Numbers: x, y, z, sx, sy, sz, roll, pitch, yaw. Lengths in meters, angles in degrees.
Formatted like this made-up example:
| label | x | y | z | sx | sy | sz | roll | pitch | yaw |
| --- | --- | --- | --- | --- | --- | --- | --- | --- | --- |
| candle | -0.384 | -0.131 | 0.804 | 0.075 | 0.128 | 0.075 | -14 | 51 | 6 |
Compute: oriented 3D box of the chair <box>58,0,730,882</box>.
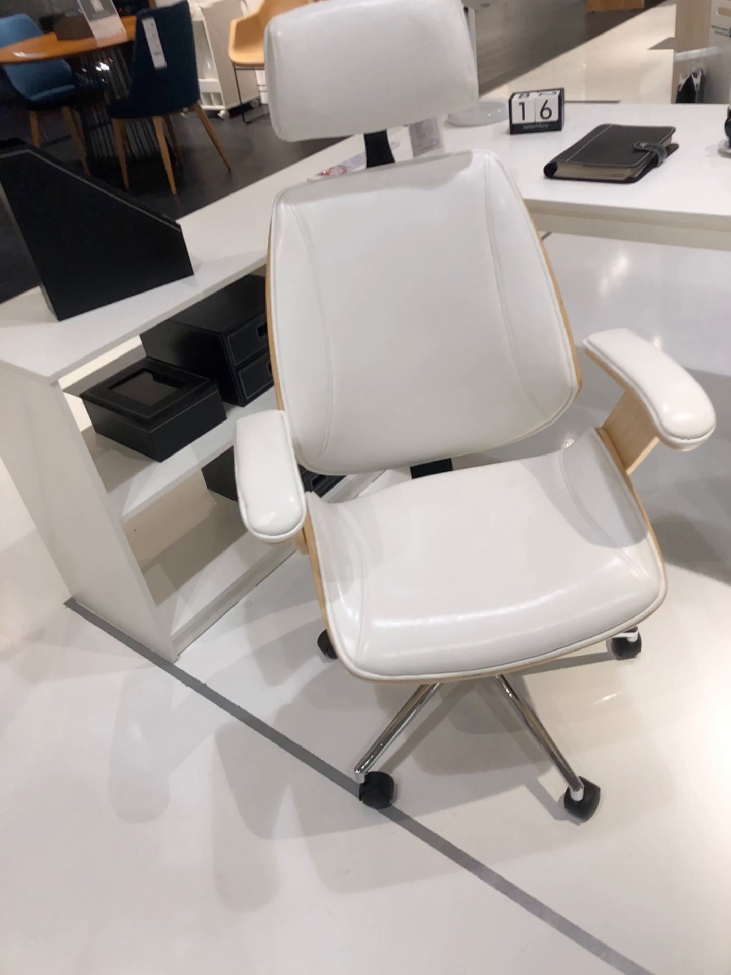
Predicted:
| label | x | y | z | sx | sy | sz | roll | pitch | yaw |
| --- | --- | --- | --- | --- | --- | --- | --- | --- | --- |
| chair | 0.132 | -0.093 | 1.219 | 0.670 | 1.101 | 0.706 | -12 | 36 | -1 |
